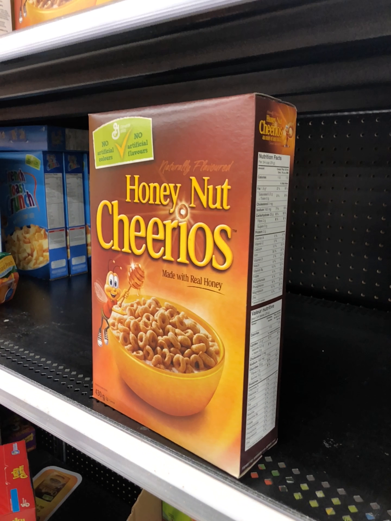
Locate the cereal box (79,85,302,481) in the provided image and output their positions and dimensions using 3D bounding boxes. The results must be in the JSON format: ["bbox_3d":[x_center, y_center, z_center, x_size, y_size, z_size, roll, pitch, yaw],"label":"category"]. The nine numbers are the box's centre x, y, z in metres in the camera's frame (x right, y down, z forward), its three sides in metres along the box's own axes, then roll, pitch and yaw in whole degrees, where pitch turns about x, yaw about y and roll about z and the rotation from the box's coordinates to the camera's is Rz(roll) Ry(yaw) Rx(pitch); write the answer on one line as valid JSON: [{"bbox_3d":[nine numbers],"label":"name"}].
[{"bbox_3d":[-0.016,0.010,0.407,0.200,0.299,0.070,10,14,40],"label":"cereal box"}]
